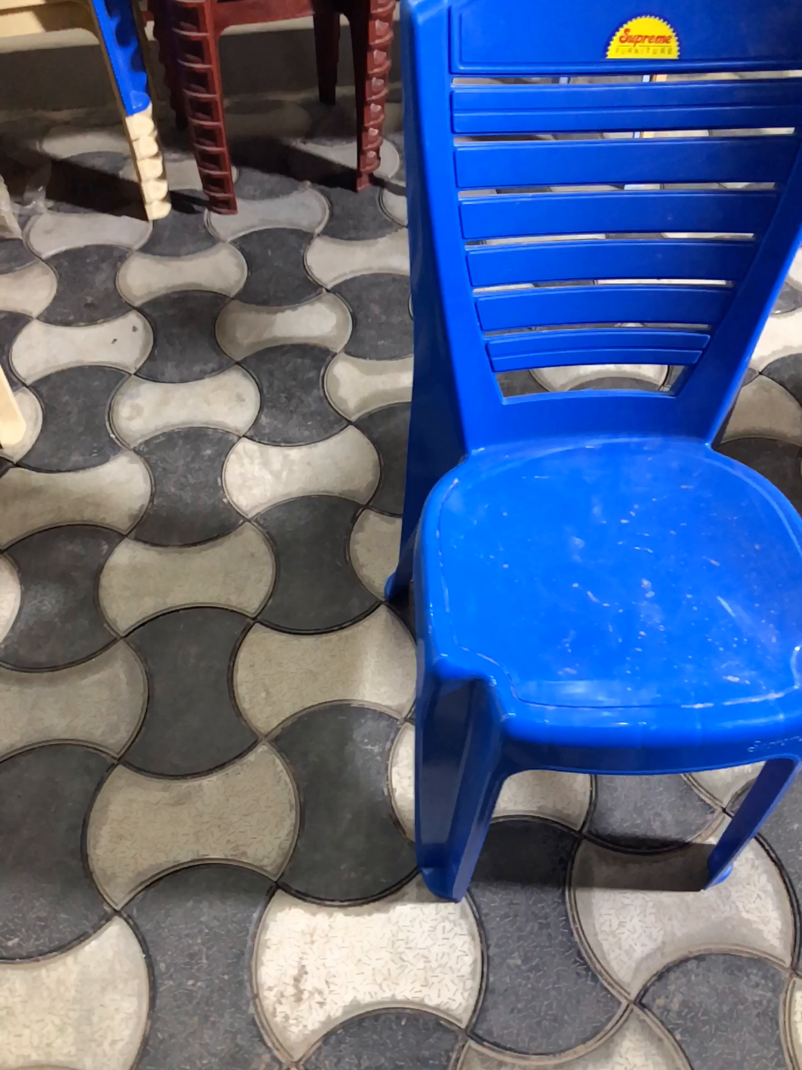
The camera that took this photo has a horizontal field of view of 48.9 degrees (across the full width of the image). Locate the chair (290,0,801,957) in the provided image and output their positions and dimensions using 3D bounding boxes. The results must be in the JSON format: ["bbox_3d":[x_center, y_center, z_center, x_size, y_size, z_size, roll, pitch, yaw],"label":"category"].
[{"bbox_3d":[0.197,-0.029,0.739,0.470,0.726,0.512,-1,50,0],"label":"chair"}]
